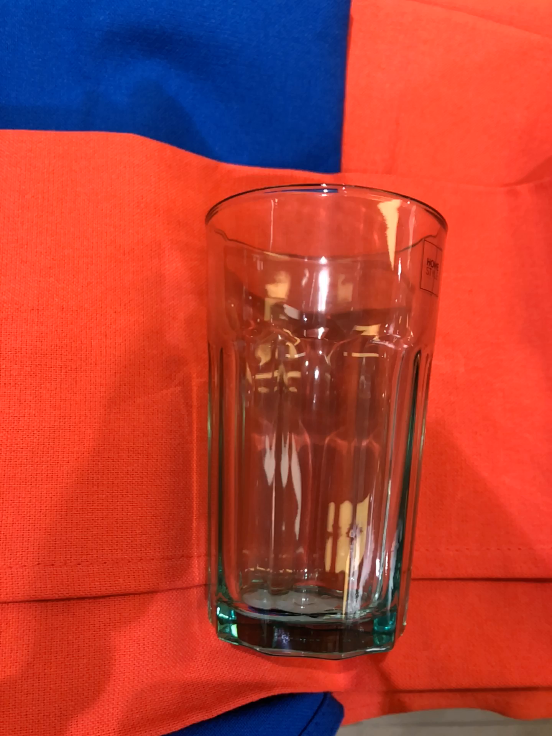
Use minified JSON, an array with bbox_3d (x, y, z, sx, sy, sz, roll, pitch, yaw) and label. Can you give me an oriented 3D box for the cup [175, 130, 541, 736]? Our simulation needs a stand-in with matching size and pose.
[{"bbox_3d":[0.021,0.019,0.198,0.090,0.070,0.150,5,81,-14],"label":"cup"}]
